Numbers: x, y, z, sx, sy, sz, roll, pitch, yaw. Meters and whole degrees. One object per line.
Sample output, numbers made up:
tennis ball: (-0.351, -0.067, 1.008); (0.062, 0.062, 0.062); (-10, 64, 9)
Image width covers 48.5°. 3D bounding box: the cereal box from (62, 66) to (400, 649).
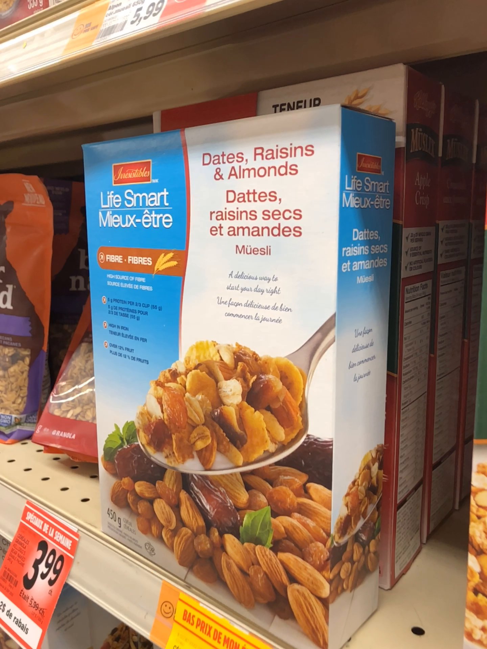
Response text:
cereal box: (-0.014, 0.016, 0.278); (0.170, 0.239, 0.050); (8, 15, 41)
